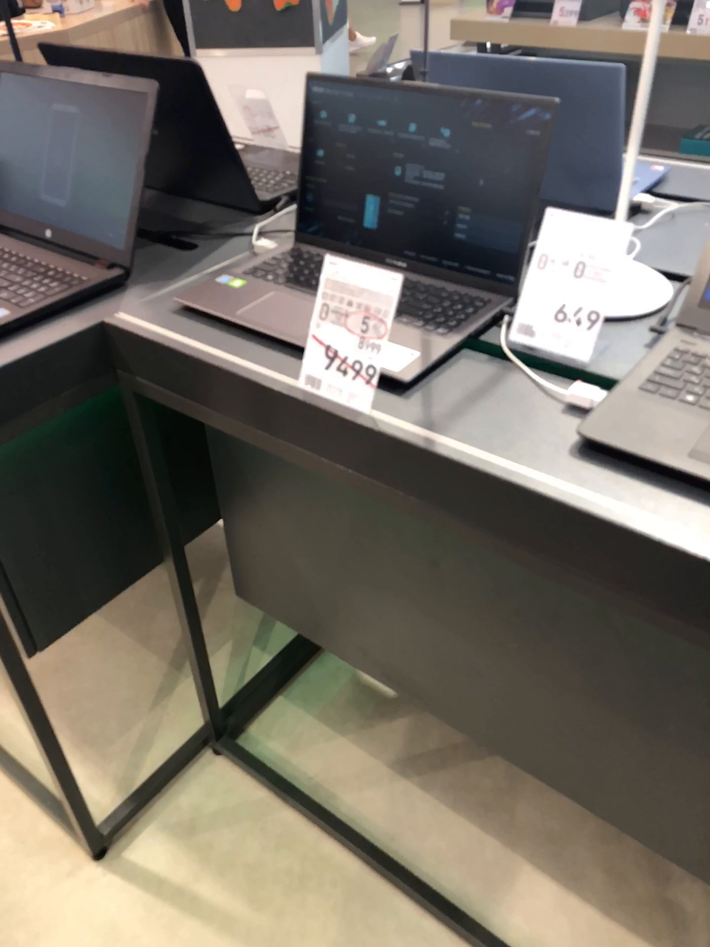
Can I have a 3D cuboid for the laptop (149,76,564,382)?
[{"bbox_3d":[0.001,-0.306,0.886,0.356,0.200,0.287,24,46,33],"label":"laptop"}]
